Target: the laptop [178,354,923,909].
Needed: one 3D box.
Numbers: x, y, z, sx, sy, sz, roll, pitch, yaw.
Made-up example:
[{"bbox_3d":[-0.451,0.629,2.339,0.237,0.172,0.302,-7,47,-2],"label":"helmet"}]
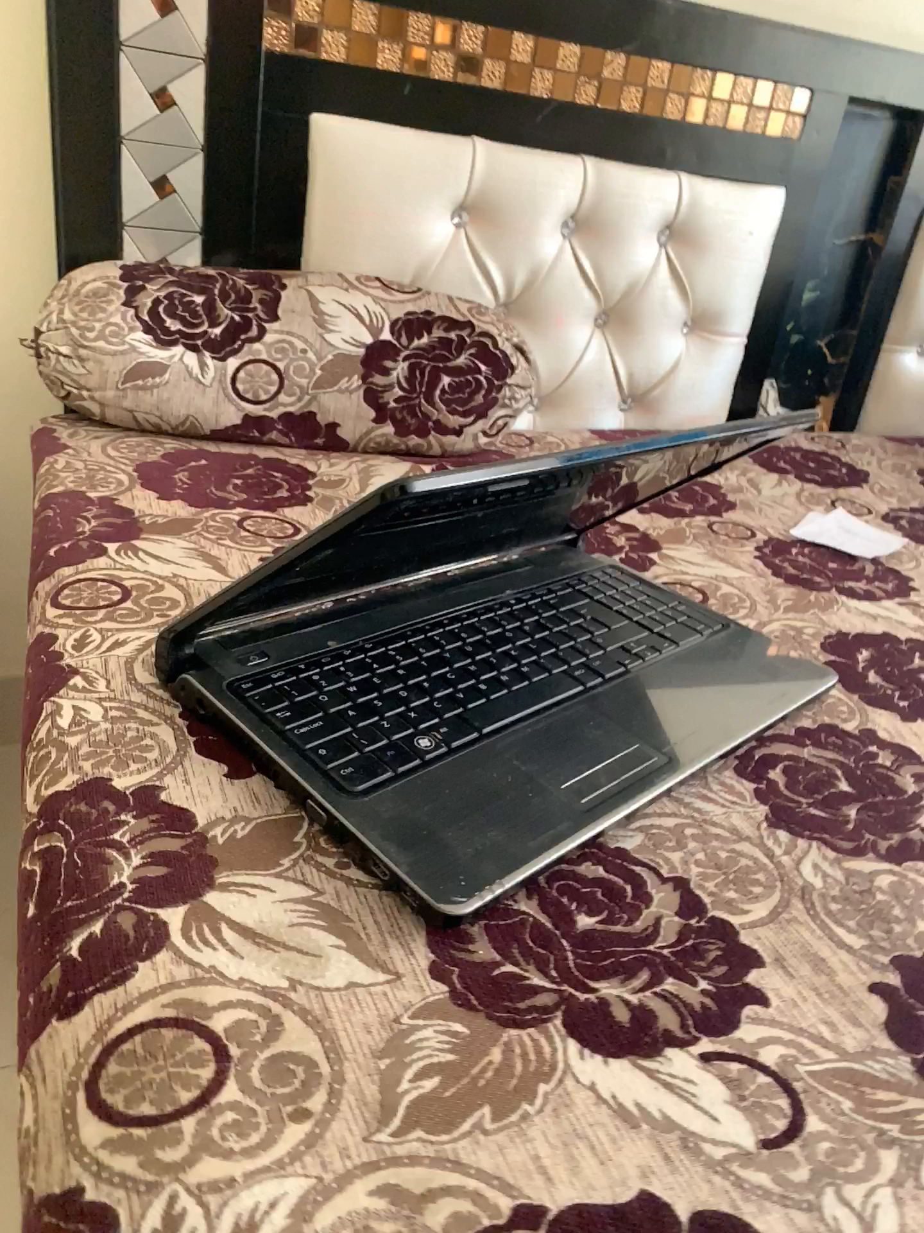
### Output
[{"bbox_3d":[0.061,-0.035,0.547,0.364,0.154,0.221,-18,39,-42],"label":"laptop"}]
